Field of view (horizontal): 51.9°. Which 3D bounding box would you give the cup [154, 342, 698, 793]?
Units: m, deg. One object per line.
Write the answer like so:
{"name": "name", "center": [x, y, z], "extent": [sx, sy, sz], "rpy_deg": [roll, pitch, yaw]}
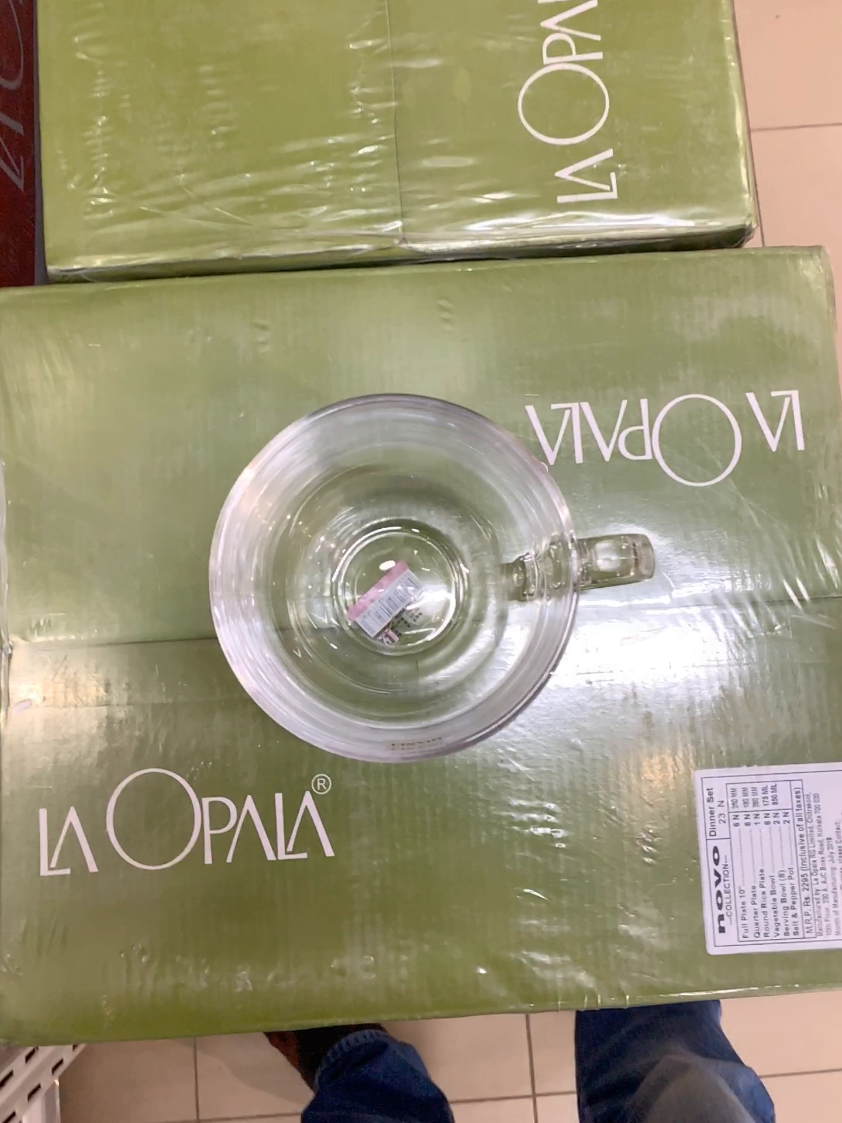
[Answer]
{"name": "cup", "center": [0.000, 0.005, 0.289], "extent": [0.140, 0.090, 0.110], "rpy_deg": [-8, 83, -1]}
